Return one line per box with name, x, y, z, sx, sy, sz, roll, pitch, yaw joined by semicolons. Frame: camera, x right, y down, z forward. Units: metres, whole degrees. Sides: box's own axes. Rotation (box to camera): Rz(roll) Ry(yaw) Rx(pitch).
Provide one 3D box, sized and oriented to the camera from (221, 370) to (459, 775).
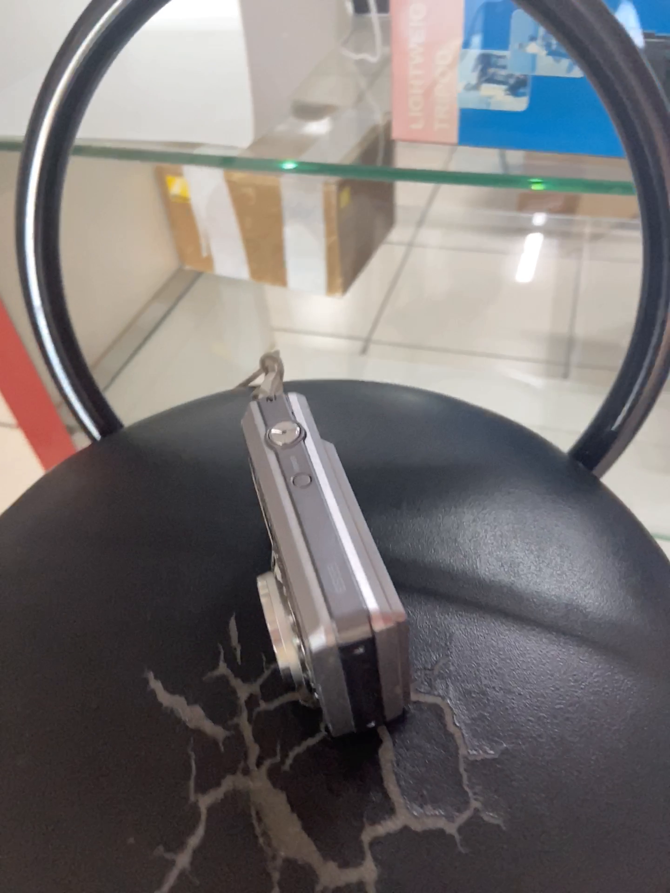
camera;-0.001;0.035;0.212;0.040;0.070;0.090;-15;45;-8
